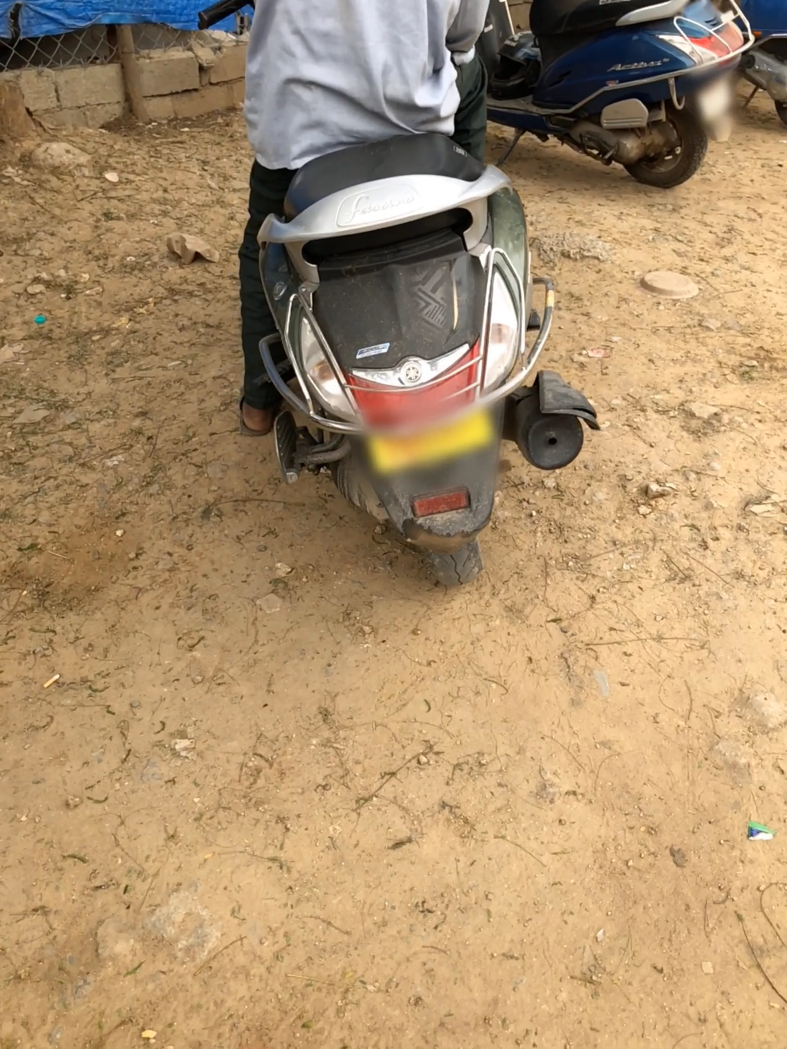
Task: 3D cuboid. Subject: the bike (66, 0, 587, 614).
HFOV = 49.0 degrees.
[{"bbox_3d":[-0.173,-0.828,1.989,0.622,1.054,1.731,-4,39,-4],"label":"bike"}]
